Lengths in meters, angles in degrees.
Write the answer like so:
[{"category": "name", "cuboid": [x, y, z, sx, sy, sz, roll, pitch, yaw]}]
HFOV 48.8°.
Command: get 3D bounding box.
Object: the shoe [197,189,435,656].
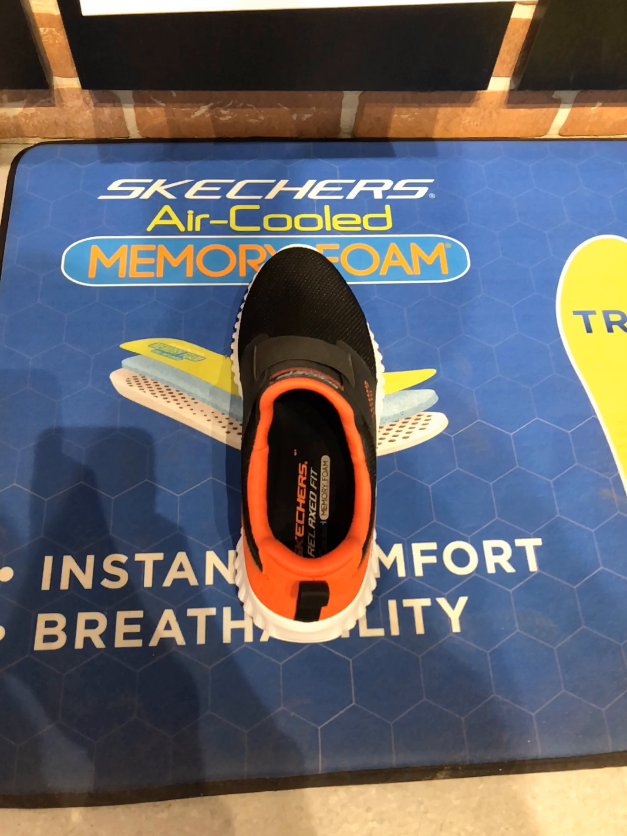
[{"category": "shoe", "cuboid": [-0.004, 0.004, 0.458, 0.116, 0.136, 0.277, 1, 64, -3]}]
